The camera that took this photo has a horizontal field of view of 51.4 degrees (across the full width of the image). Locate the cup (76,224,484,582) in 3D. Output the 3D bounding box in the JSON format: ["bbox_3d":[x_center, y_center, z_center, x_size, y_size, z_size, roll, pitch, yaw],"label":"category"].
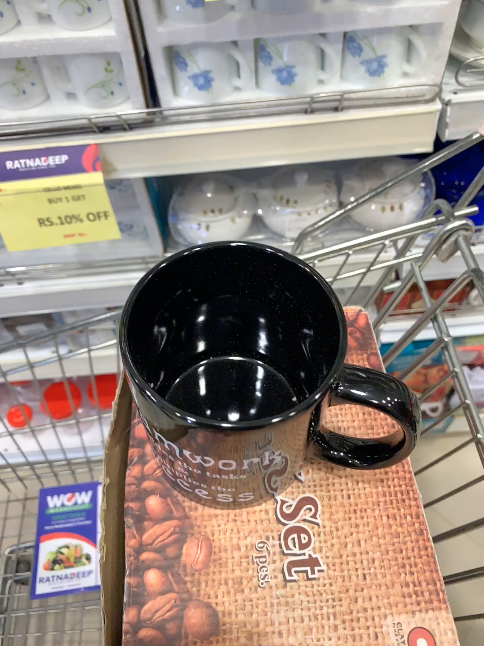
[{"bbox_3d":[0.016,0.039,0.211,0.120,0.100,0.080,20,61,9],"label":"cup"}]
